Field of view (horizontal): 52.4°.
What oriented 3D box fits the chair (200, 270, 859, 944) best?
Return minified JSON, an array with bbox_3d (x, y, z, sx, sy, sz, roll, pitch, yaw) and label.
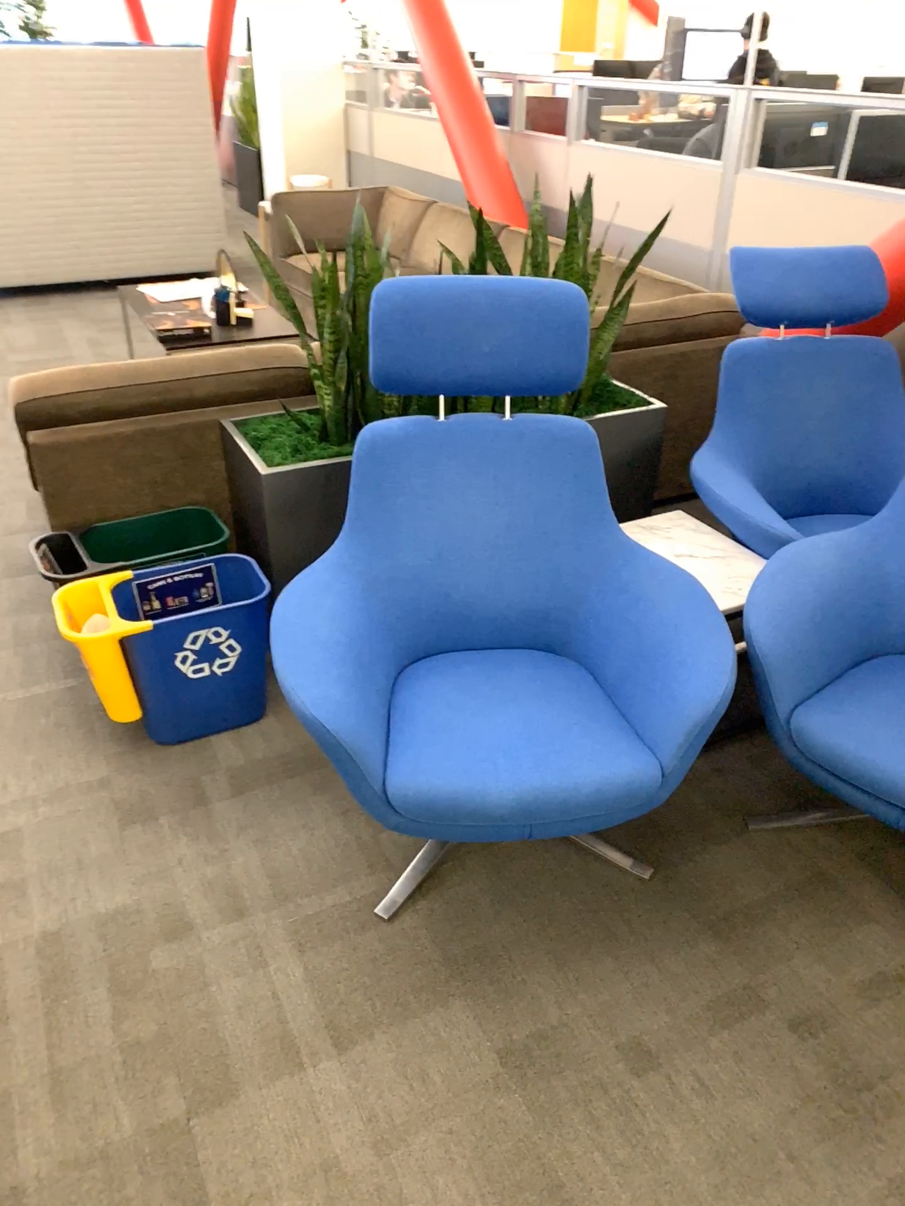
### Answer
[{"bbox_3d":[0.084,-0.001,1.848,0.920,1.143,0.664,-2,31,-4],"label":"chair"}]
